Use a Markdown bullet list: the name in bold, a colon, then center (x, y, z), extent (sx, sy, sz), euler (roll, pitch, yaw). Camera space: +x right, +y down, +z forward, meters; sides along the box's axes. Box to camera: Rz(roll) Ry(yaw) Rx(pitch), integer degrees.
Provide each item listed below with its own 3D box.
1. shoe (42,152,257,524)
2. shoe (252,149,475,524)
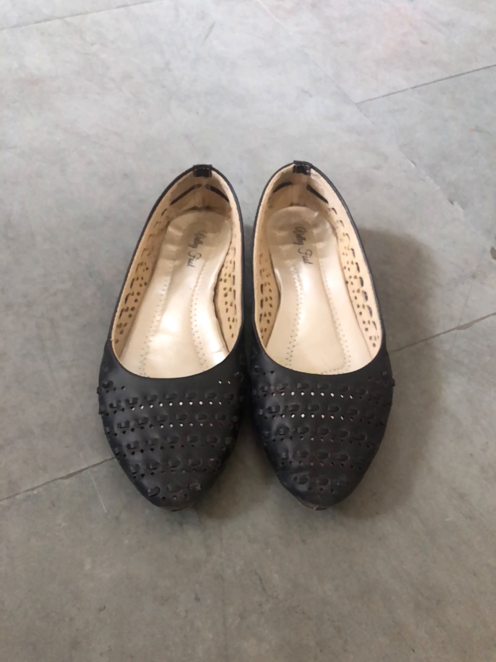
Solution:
- **shoe**: center (-0.044, -0.011, 0.351), extent (0.095, 0.062, 0.242), euler (1, 54, 1)
- **shoe**: center (0.054, -0.011, 0.358), extent (0.095, 0.073, 0.242), euler (-1, 54, -1)
